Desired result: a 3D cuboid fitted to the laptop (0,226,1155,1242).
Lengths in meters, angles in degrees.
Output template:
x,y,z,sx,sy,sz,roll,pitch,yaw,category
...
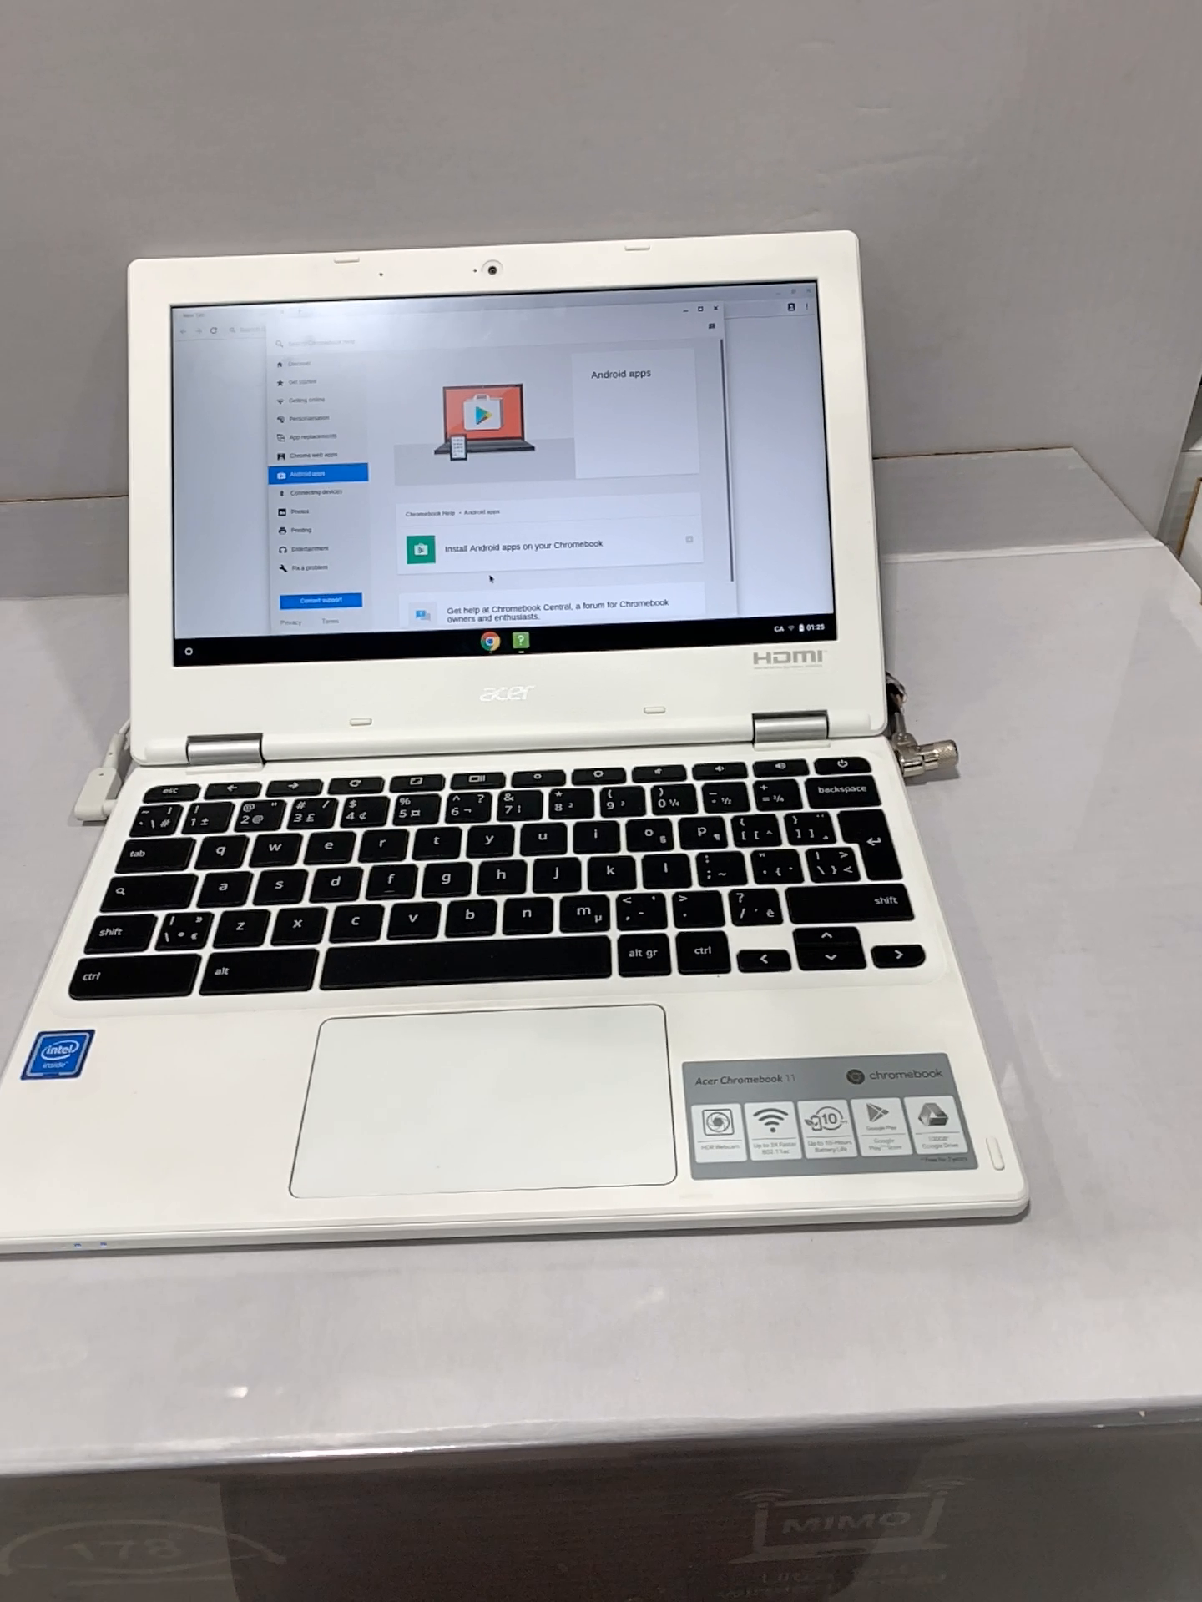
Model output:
x,y,z,sx,sy,sz,roll,pitch,yaw,category
-0.036,-0.052,0.399,0.282,0.132,0.330,-2,43,1,laptop
